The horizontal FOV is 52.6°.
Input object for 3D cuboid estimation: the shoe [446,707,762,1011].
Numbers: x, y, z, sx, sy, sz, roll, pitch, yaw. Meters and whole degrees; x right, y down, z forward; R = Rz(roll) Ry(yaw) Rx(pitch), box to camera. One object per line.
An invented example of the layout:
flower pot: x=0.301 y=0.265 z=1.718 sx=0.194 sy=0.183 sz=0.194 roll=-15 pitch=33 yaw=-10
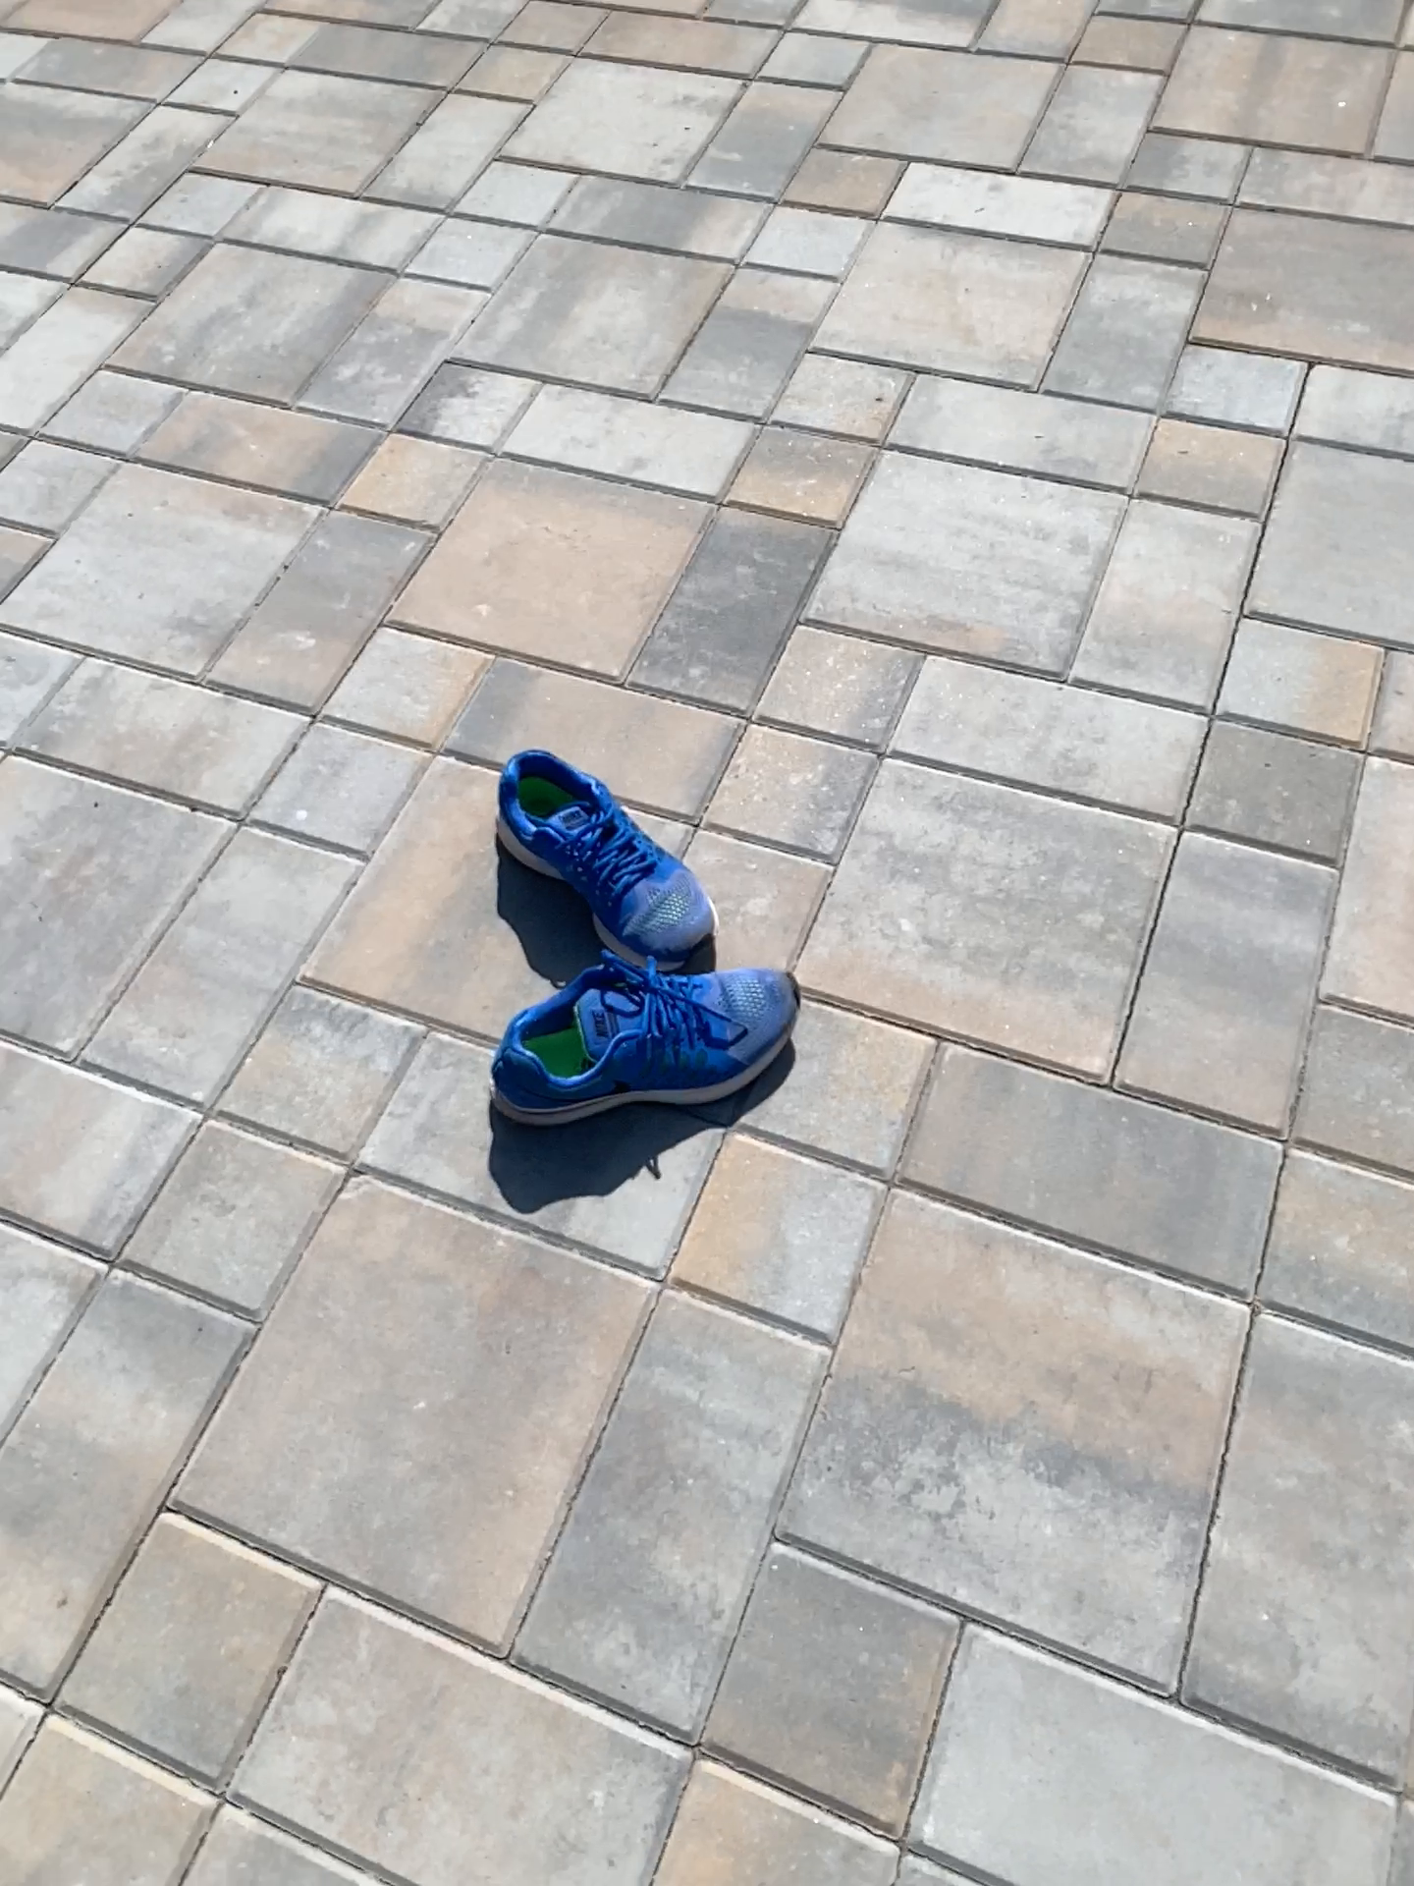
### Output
shoe: x=-0.094 y=-0.080 z=1.292 sx=0.120 sy=0.080 sz=0.281 roll=-41 pitch=64 yaw=-20

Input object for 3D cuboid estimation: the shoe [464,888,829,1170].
shoe: x=-0.047 y=0.071 z=1.192 sx=0.270 sy=0.110 sz=0.120 roll=-18 pitch=58 yaw=-7
